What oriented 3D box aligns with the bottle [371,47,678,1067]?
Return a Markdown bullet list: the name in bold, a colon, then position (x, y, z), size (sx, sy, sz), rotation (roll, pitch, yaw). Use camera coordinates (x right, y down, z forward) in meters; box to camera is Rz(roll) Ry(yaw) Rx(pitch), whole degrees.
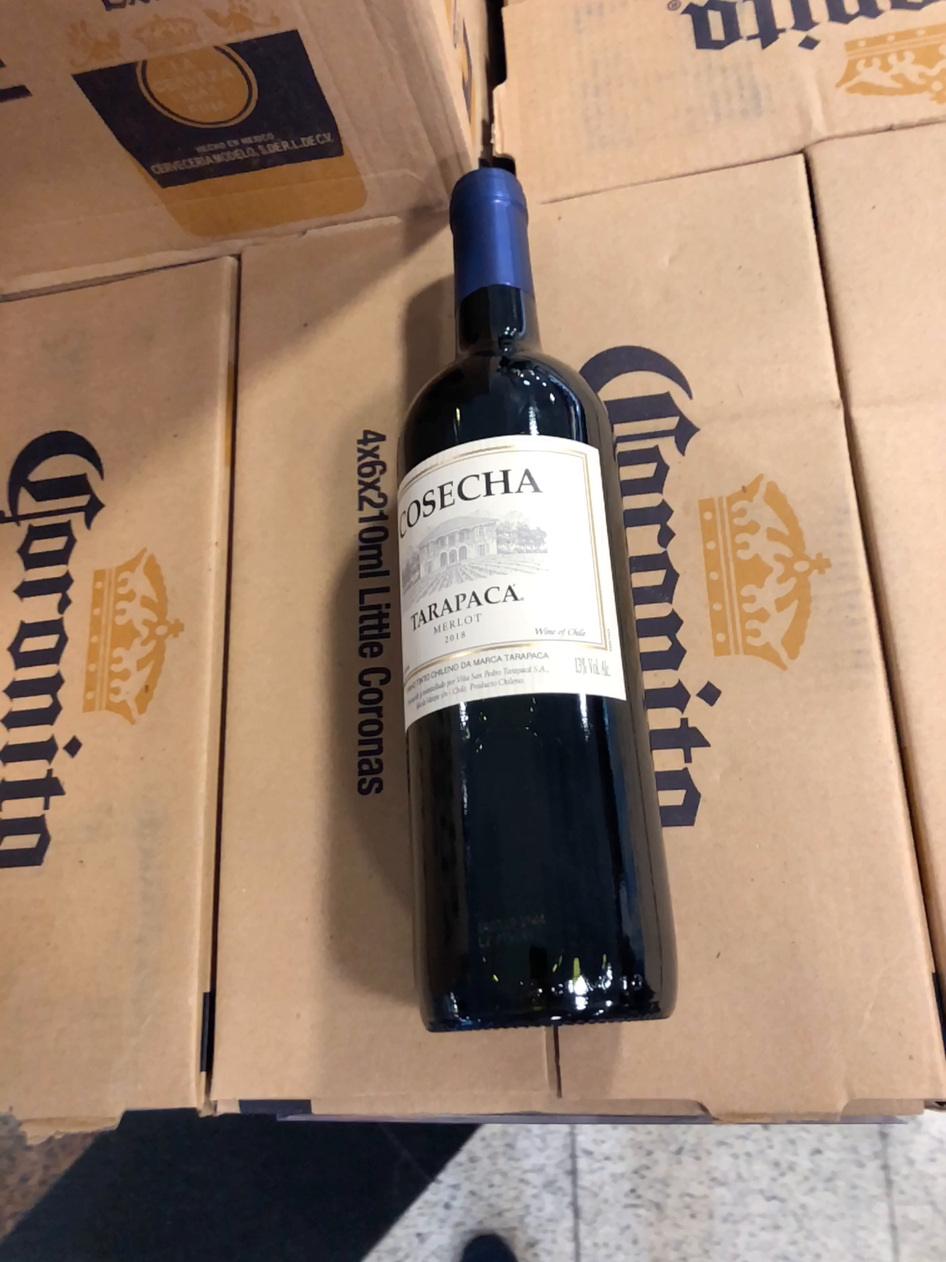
- **bottle**: position (0.006, -0.042, 0.334), size (0.070, 0.060, 0.331), rotation (-2, 67, 0)
